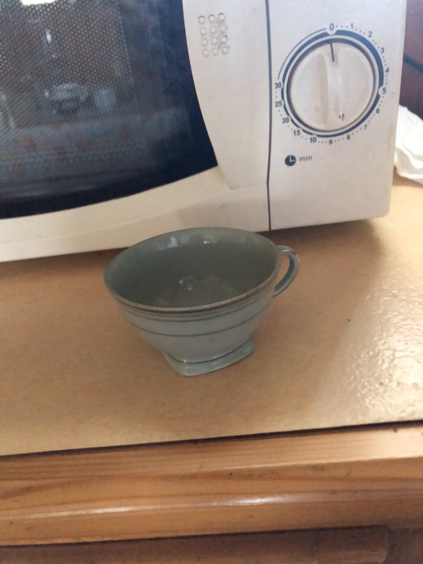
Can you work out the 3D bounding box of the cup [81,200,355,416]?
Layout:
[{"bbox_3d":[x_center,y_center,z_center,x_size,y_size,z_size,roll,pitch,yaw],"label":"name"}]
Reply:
[{"bbox_3d":[0.001,0.003,0.227,0.100,0.040,0.080,-21,33,-22],"label":"cup"}]
